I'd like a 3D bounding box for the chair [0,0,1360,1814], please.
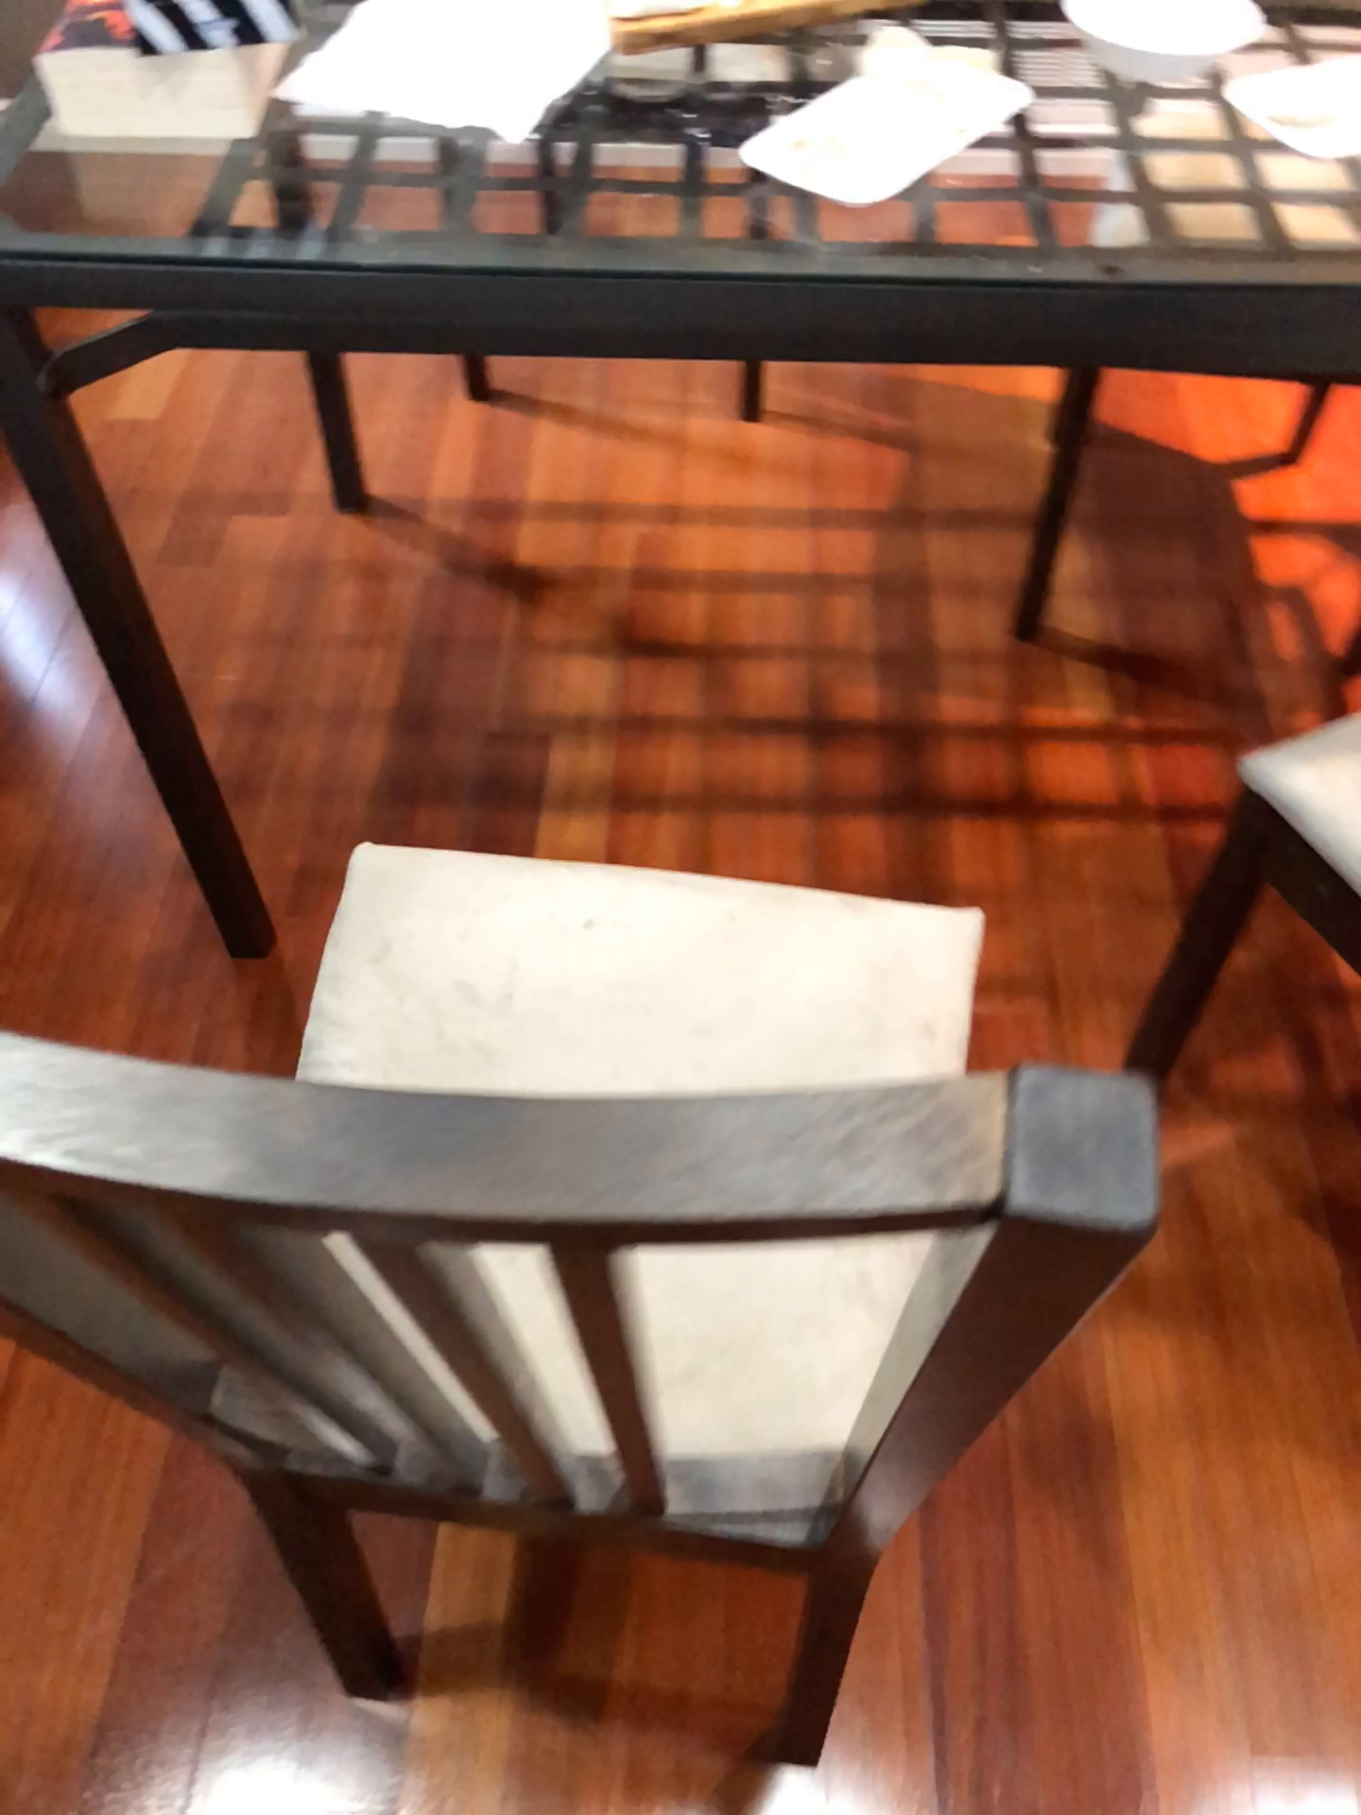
[{"bbox_3d":[-0.027,0.149,0.841,0.490,1.054,0.513,7,52,6],"label":"chair"}]
